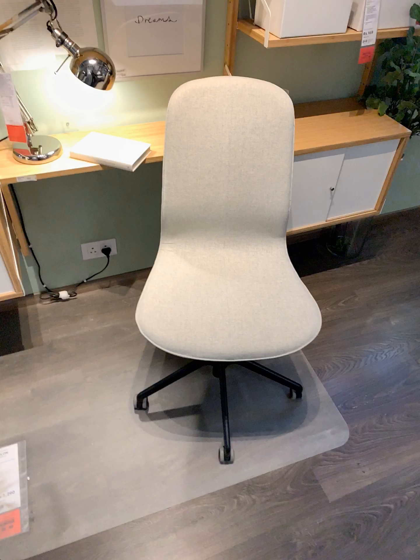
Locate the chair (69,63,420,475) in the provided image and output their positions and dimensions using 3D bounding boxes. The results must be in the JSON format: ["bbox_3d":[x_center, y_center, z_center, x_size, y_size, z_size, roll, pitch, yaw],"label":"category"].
[{"bbox_3d":[0.070,0.013,1.277,0.670,1.016,0.673,-1,44,-5],"label":"chair"}]
